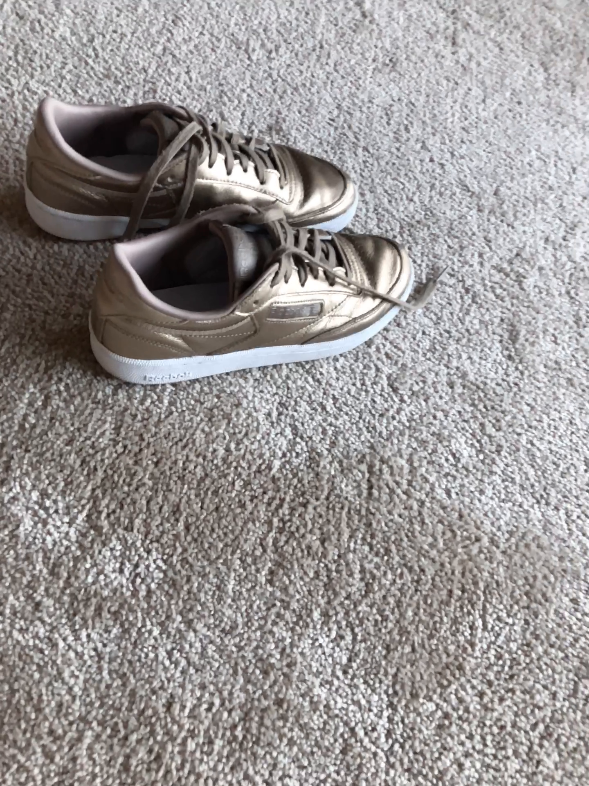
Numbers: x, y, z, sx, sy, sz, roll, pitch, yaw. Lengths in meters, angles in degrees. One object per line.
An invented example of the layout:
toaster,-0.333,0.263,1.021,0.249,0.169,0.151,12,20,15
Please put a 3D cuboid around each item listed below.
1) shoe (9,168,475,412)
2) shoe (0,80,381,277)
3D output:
shoe,-0.031,-0.078,0.445,0.280,0.070,0.110,-11,66,-21
shoe,-0.089,-0.160,0.489,0.280,0.070,0.110,-6,64,-19
